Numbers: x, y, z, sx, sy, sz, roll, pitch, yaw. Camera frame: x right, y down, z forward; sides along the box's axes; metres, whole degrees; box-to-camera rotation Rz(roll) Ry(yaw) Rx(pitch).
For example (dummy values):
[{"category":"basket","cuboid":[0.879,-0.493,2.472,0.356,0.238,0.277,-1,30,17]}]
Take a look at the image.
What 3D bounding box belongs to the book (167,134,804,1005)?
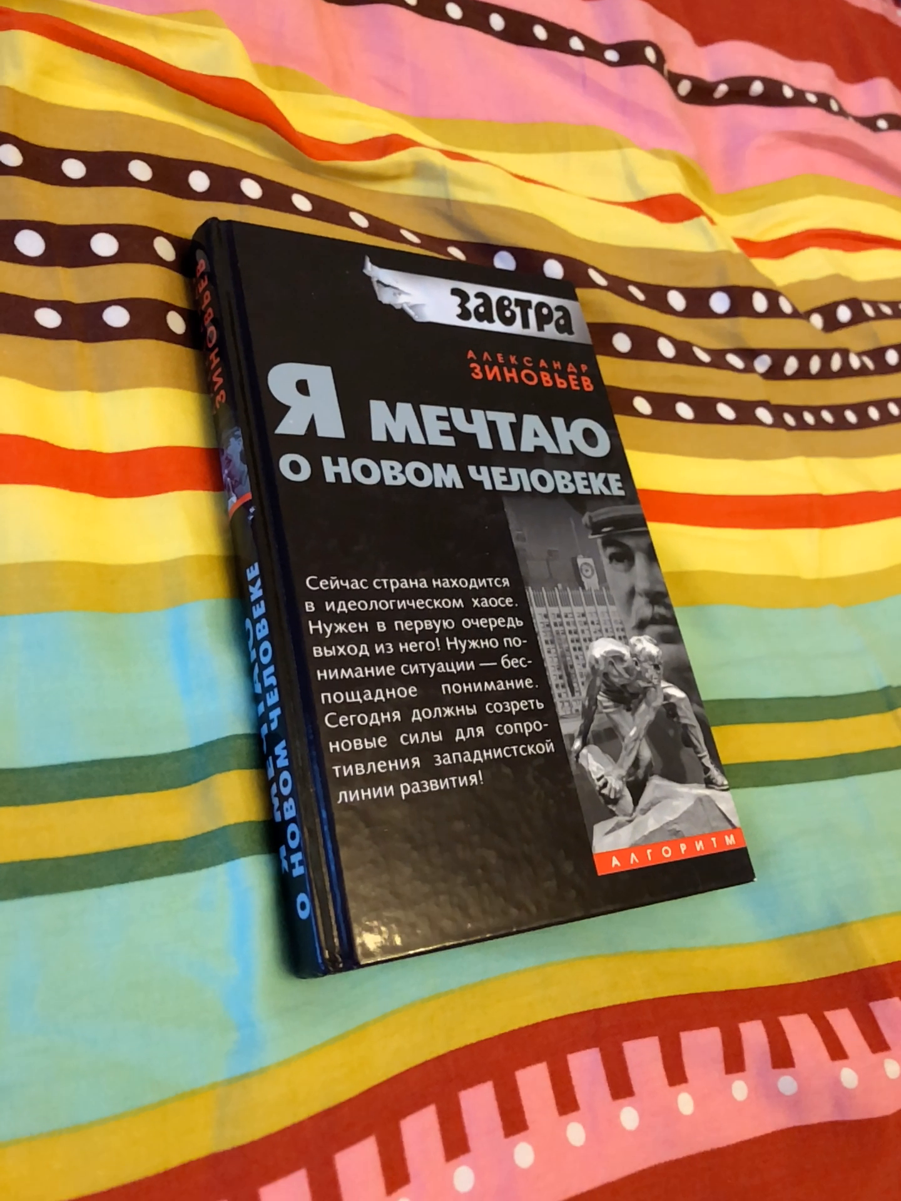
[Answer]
[{"category":"book","cuboid":[0.006,-0.019,0.280,0.141,0.030,0.220,0,68,-30]}]
